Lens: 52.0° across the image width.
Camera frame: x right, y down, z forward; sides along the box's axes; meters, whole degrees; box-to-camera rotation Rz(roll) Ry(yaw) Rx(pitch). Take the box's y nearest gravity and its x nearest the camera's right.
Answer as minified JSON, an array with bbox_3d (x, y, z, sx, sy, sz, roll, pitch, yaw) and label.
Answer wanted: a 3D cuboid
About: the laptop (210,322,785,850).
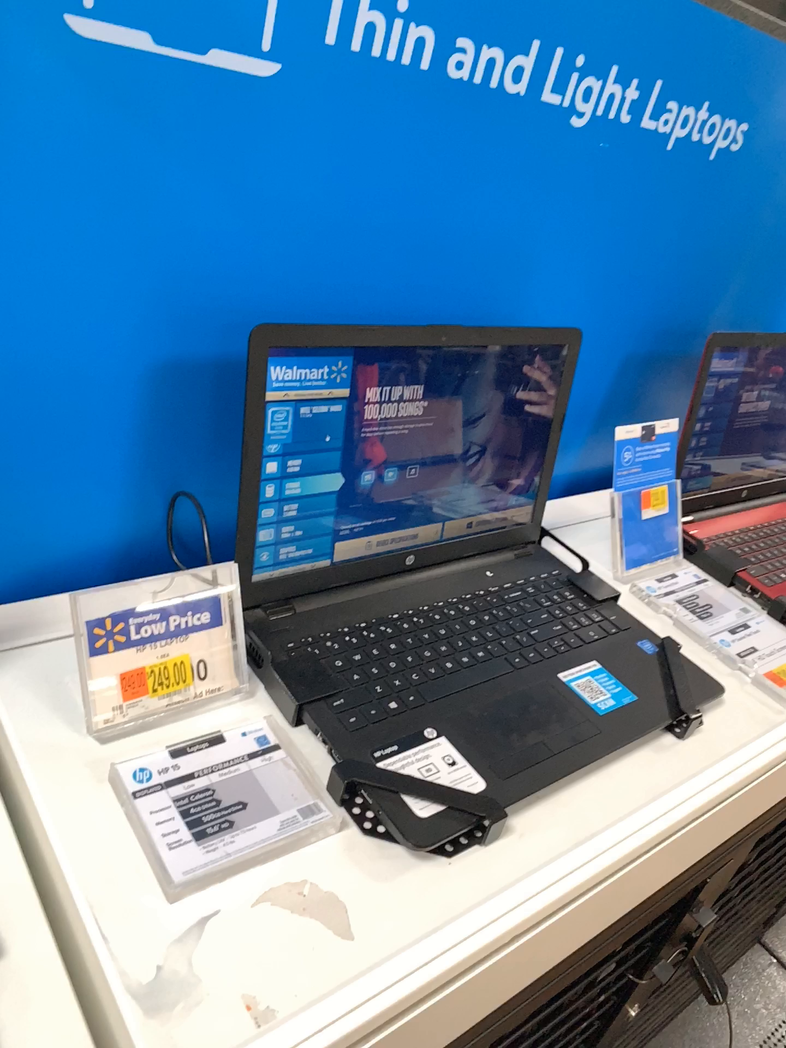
[{"bbox_3d":[0.099,0.004,0.642,0.364,0.225,0.286,-11,39,-38],"label":"laptop"}]
